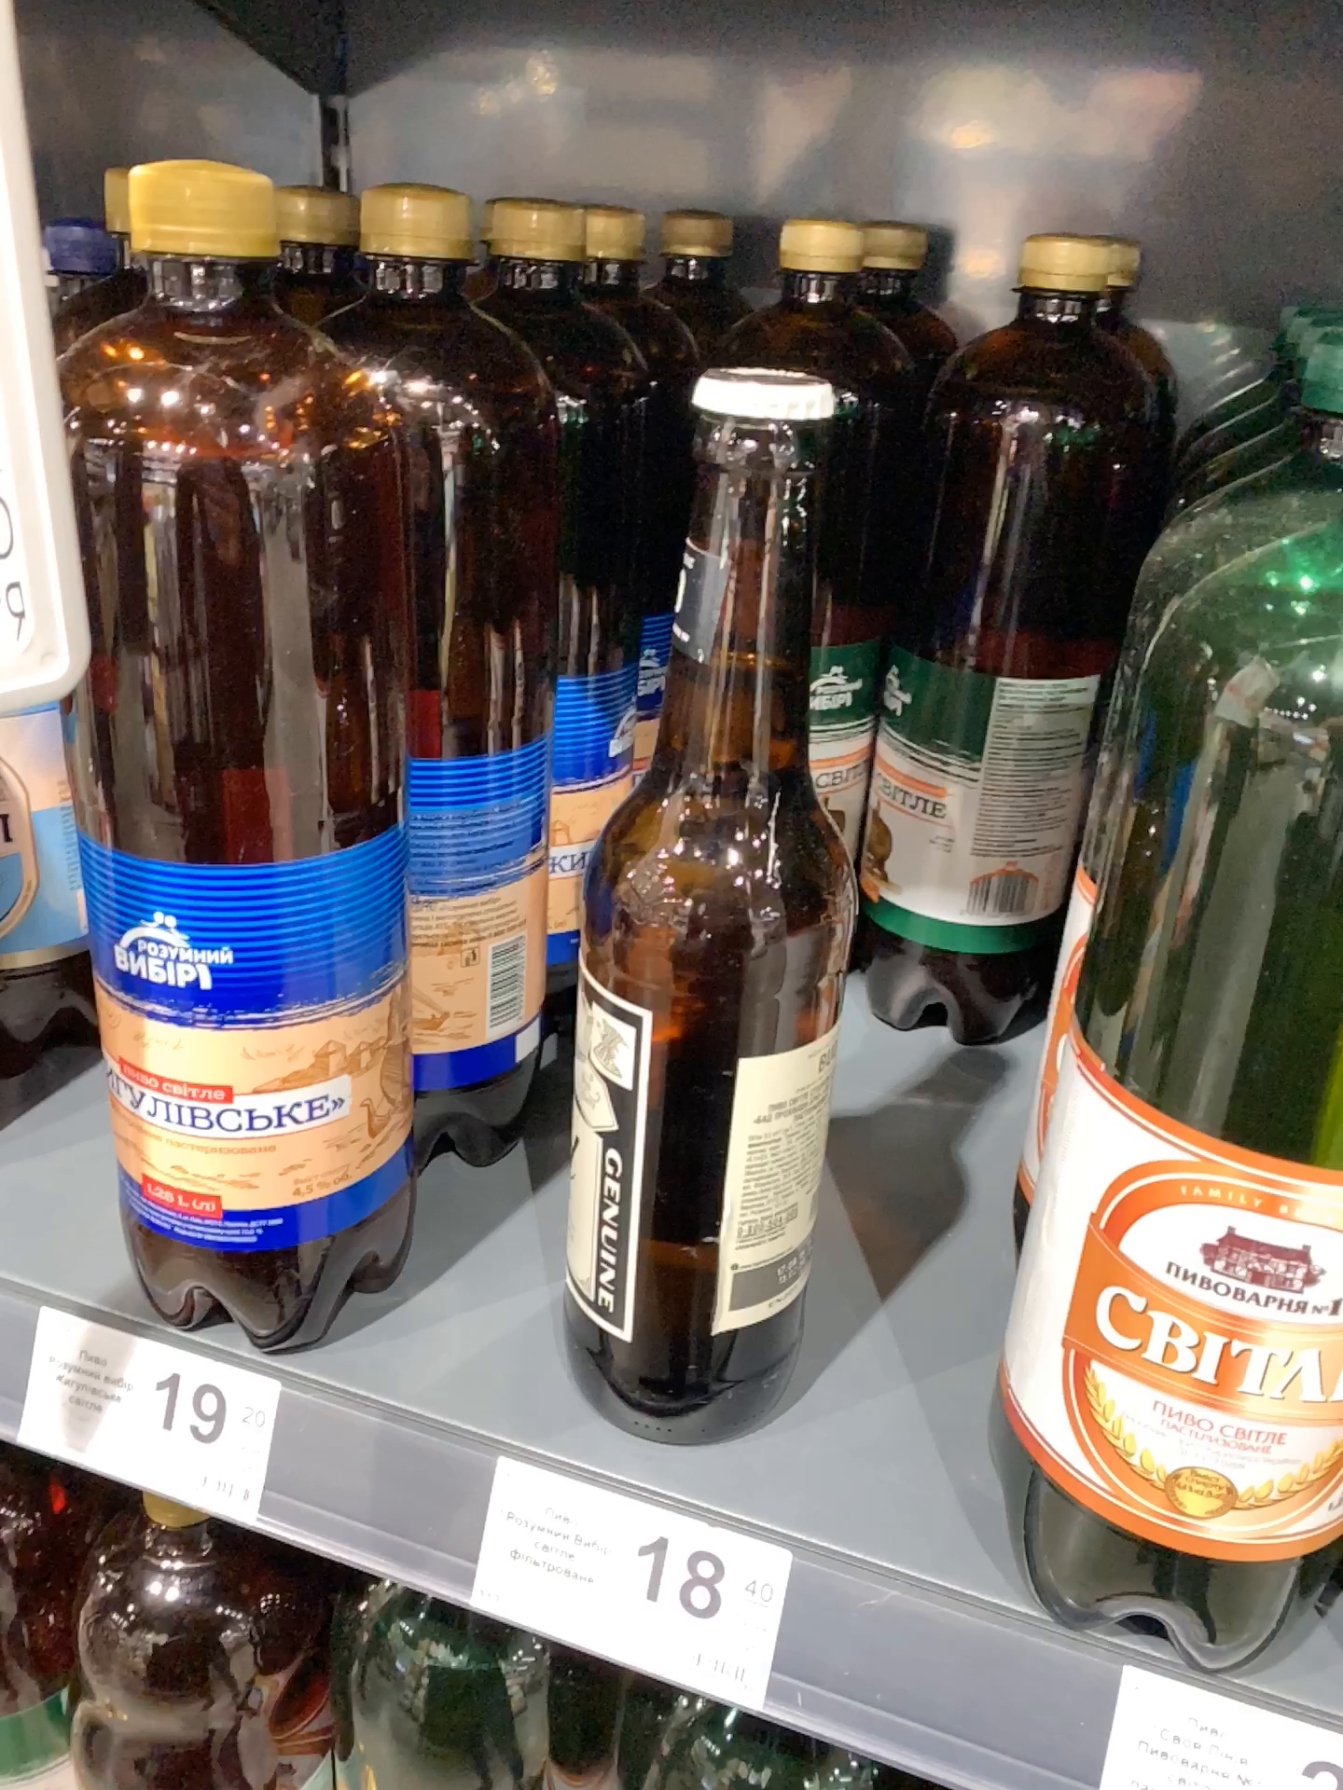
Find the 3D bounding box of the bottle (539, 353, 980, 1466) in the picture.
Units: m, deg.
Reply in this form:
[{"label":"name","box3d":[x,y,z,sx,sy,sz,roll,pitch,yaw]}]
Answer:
[{"label":"bottle","box3d":[0.009,0.013,0.331,0.070,0.258,0.064,3,25,-1]}]
